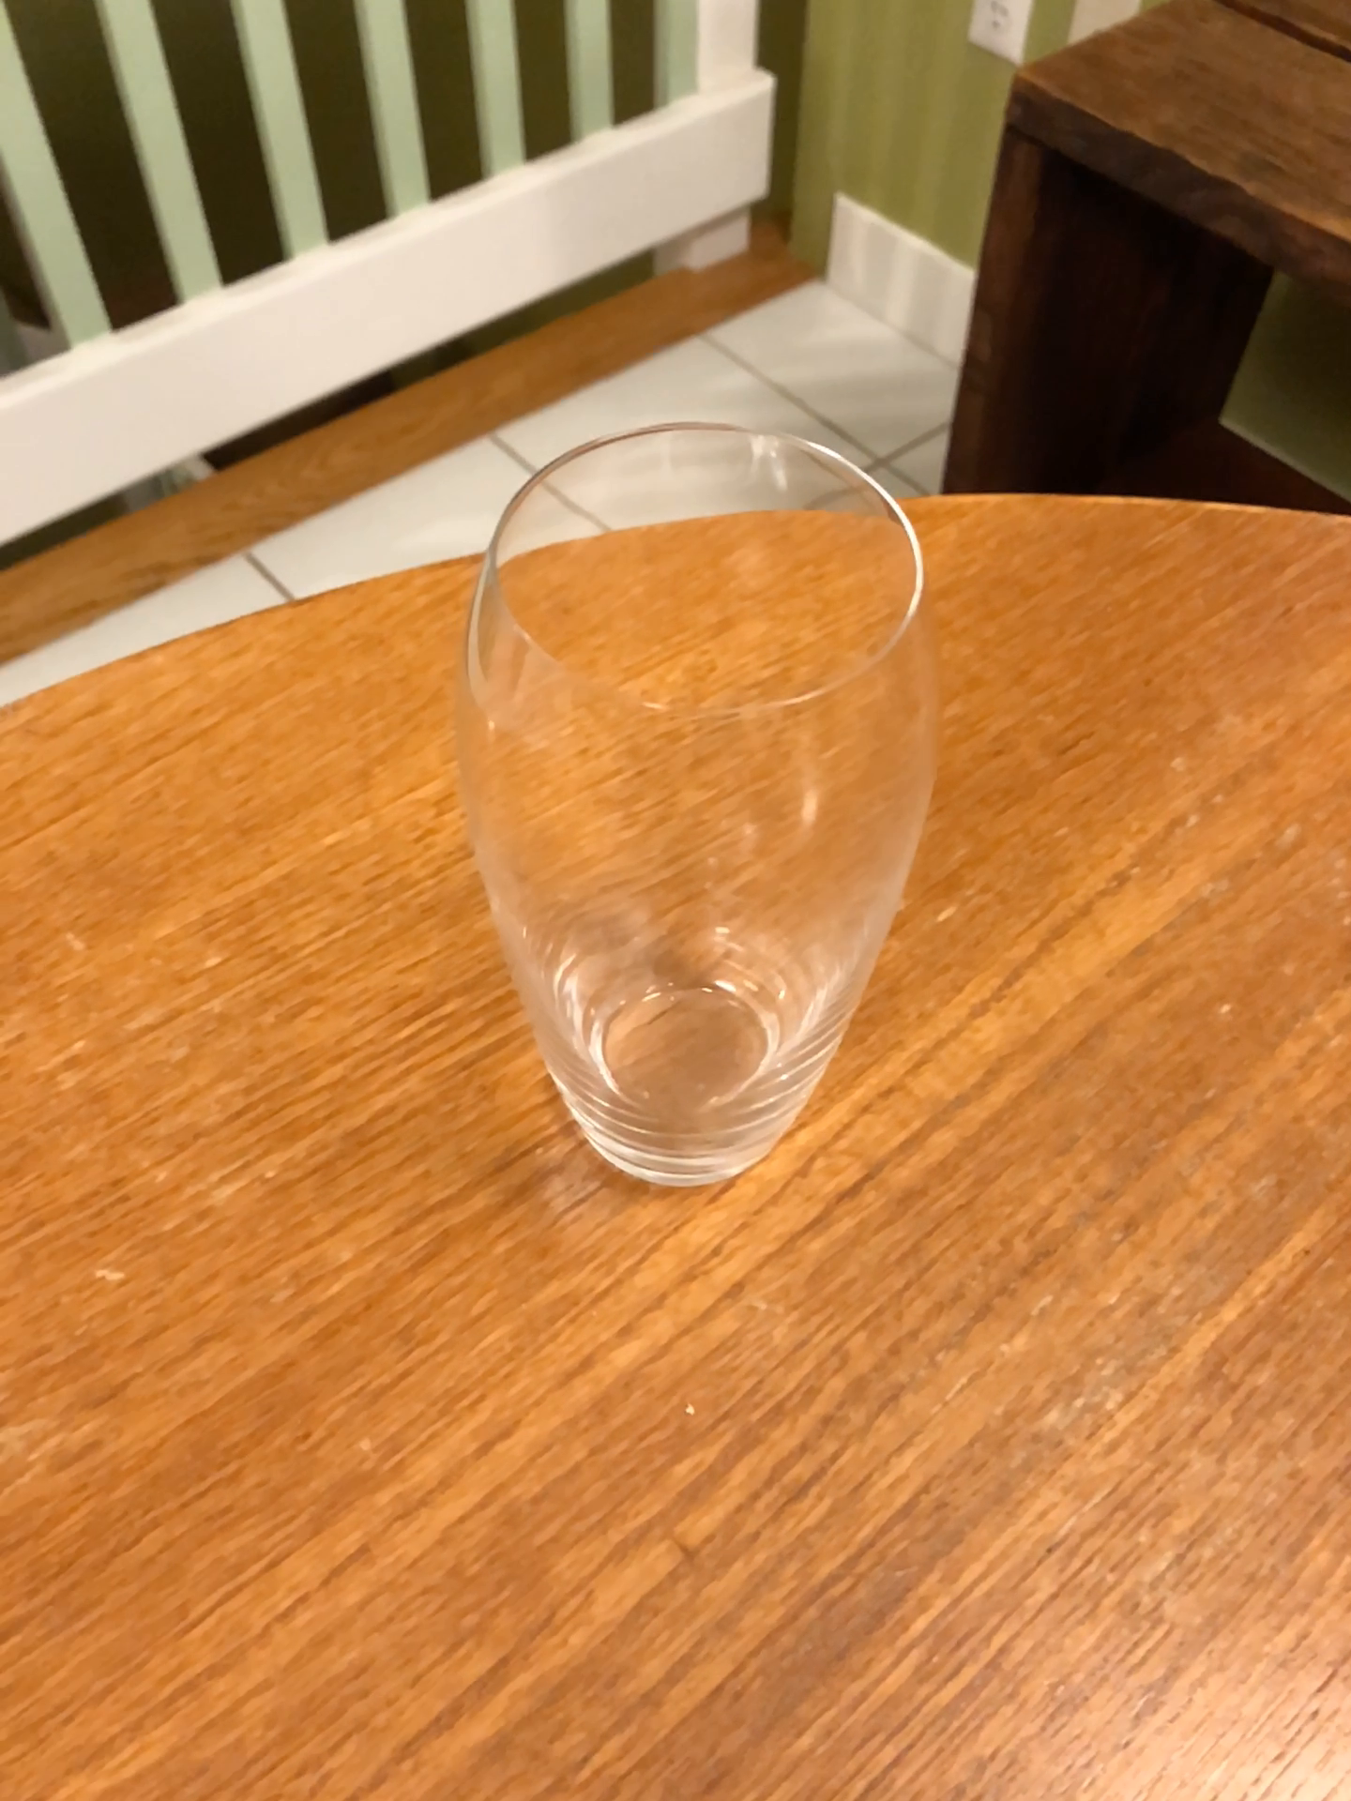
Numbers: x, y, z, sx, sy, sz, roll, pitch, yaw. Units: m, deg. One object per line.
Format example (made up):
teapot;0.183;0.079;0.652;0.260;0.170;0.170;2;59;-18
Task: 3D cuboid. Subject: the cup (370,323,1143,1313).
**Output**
cup;0.011;-0.006;0.284;0.081;0.157;0.082;0;54;-1
